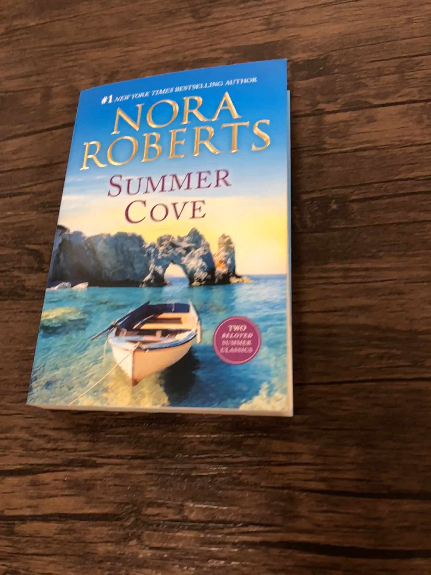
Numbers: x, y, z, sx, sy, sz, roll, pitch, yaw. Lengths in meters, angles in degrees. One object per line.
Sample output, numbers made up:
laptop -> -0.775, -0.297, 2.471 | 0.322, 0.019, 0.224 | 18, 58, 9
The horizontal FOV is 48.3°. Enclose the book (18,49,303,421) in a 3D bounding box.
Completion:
book -> -0.024, -0.033, 0.284 | 0.140, 0.043, 0.210 | -3, 70, 12
